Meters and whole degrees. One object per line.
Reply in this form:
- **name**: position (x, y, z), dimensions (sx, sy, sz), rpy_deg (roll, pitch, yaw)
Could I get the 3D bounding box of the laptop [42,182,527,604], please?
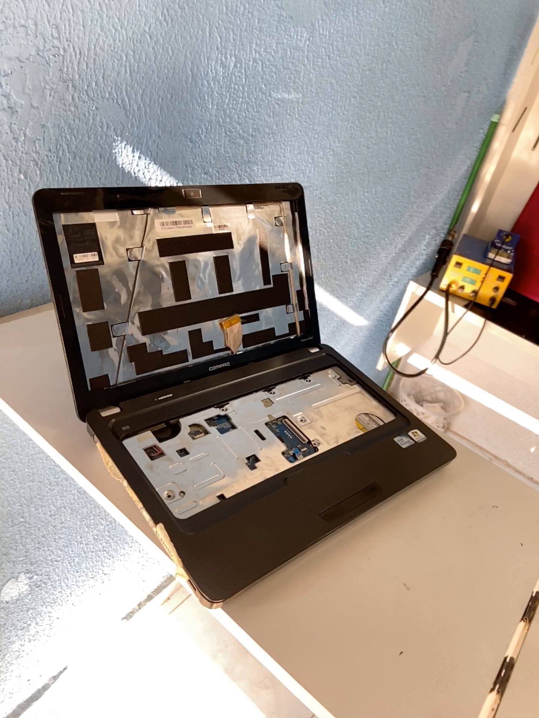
- **laptop**: position (-0.001, -0.022, 0.566), dimensions (0.333, 0.182, 0.336), rpy_deg (-16, 45, -38)
